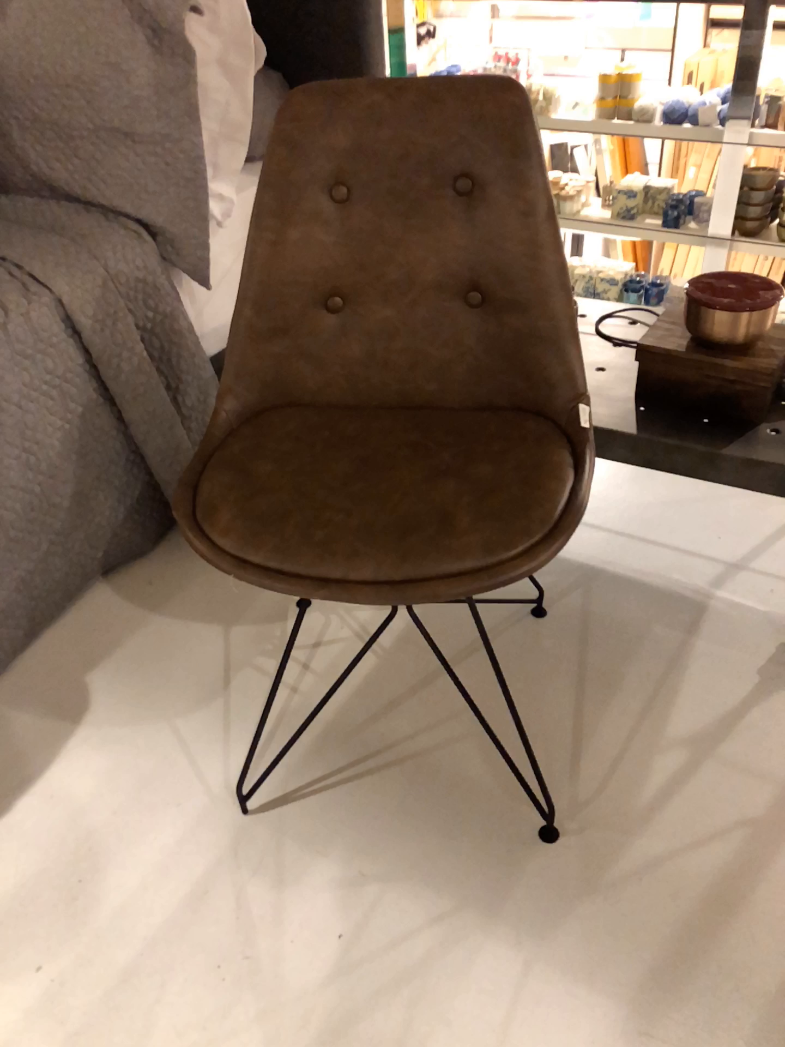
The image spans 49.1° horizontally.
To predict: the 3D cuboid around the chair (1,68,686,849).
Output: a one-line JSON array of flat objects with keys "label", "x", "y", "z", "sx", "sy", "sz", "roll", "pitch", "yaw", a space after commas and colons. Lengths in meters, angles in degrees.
[{"label": "chair", "x": 0.009, "y": -0.087, "z": 1.069, "sx": 0.510, "sy": 0.754, "sz": 0.554, "roll": 3, "pitch": 37, "yaw": 8}]
